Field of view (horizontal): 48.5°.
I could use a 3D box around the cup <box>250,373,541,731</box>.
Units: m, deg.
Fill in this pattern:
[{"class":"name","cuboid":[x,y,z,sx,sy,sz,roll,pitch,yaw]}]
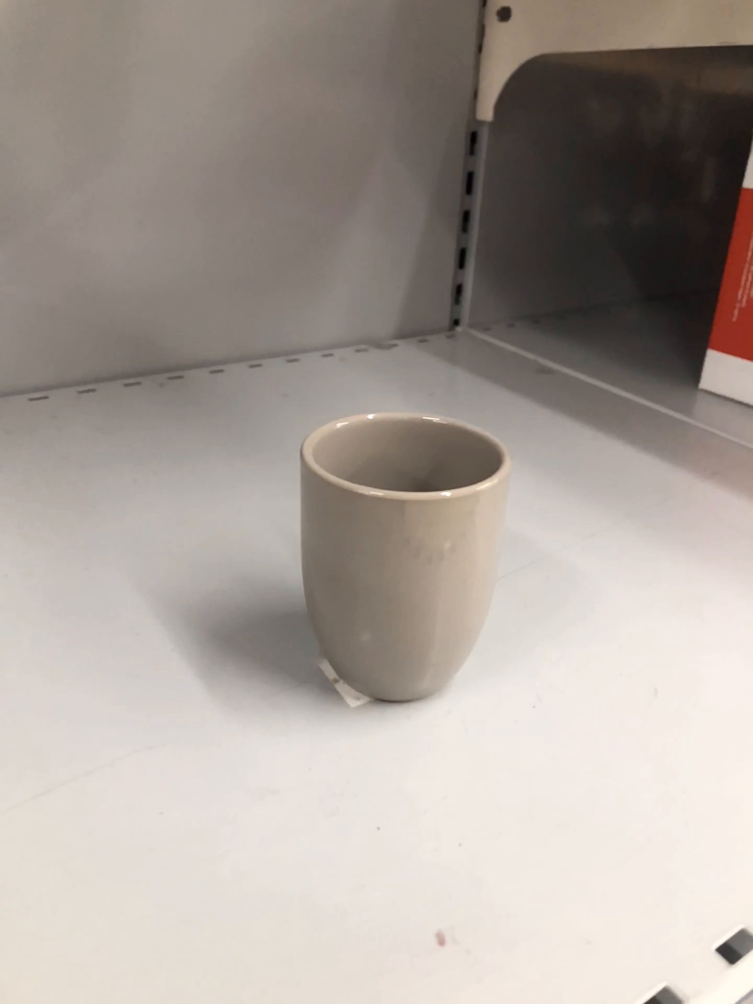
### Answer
[{"class":"cup","cuboid":[0.010,0.008,0.255,0.064,0.062,0.092,9,28,12]}]
